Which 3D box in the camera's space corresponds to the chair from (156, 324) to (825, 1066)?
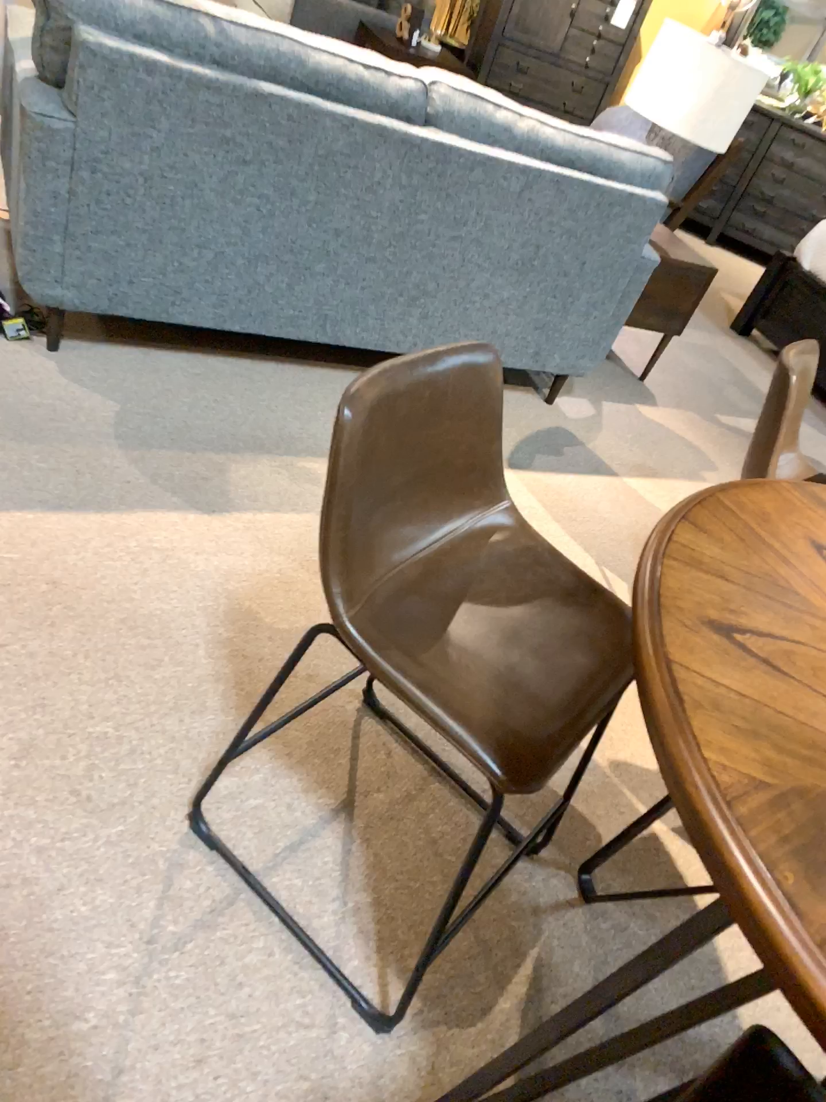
[{"bbox_3d":[0.084,0.189,1.305,0.581,0.806,0.603,40,39,21],"label":"chair"}]
